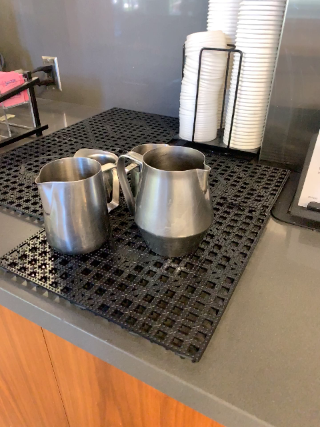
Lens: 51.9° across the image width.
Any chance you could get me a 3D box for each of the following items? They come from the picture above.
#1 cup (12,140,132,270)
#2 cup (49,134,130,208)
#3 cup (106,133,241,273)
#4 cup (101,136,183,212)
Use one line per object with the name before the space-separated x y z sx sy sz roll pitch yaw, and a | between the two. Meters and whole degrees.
cup | -0.111 -0.017 0.447 0.080 0.119 0.120 24 39 32
cup | -0.112 -0.072 0.525 0.110 0.070 0.070 28 41 36
cup | 0.015 -0.022 0.446 0.141 0.119 0.100 27 41 35
cup | -0.025 -0.067 0.520 0.070 0.070 0.110 24 40 33
